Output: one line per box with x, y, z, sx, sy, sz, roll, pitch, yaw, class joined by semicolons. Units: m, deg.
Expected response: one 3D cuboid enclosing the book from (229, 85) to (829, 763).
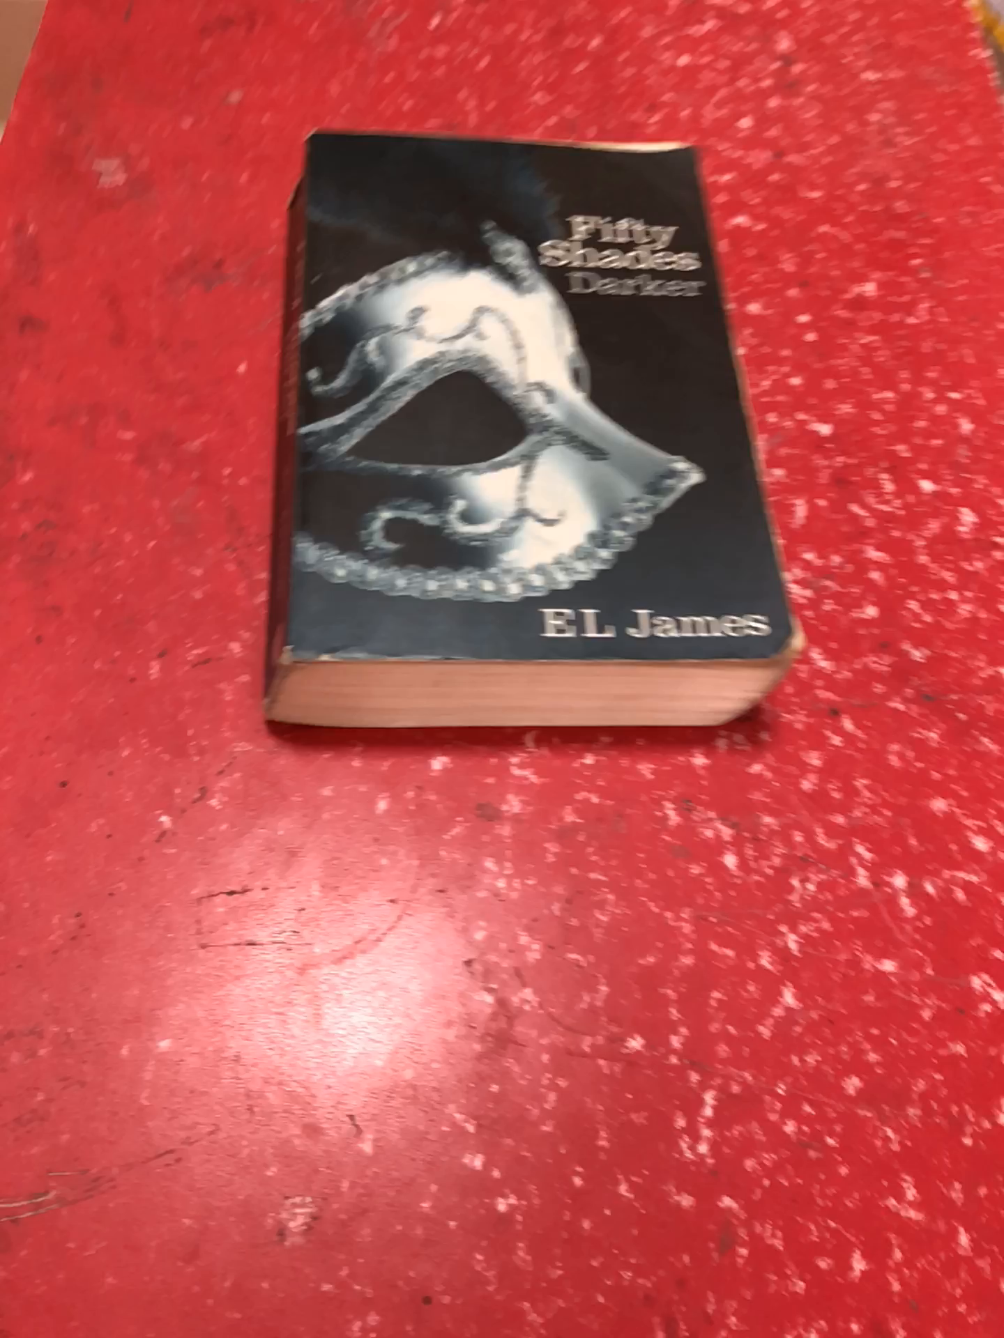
0.001;-0.079;0.332;0.140;0.050;0.210;0;62;-6;book
